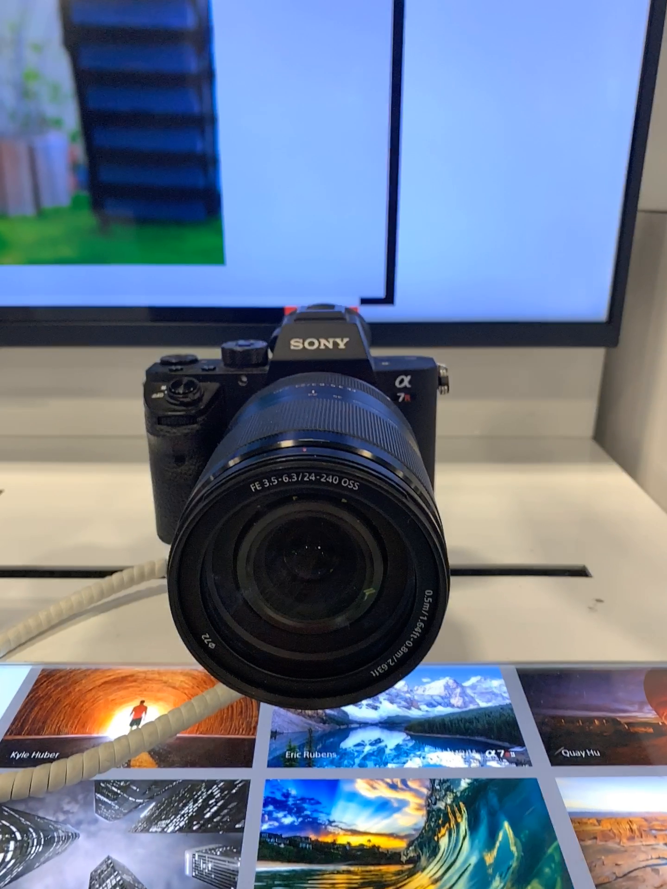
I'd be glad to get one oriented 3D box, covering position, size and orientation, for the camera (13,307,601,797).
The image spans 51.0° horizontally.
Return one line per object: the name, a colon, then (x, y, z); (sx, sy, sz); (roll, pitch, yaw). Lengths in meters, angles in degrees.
camera: (-0.010, 0.013, 0.254); (0.128, 0.091, 0.185); (-2, 21, -3)
